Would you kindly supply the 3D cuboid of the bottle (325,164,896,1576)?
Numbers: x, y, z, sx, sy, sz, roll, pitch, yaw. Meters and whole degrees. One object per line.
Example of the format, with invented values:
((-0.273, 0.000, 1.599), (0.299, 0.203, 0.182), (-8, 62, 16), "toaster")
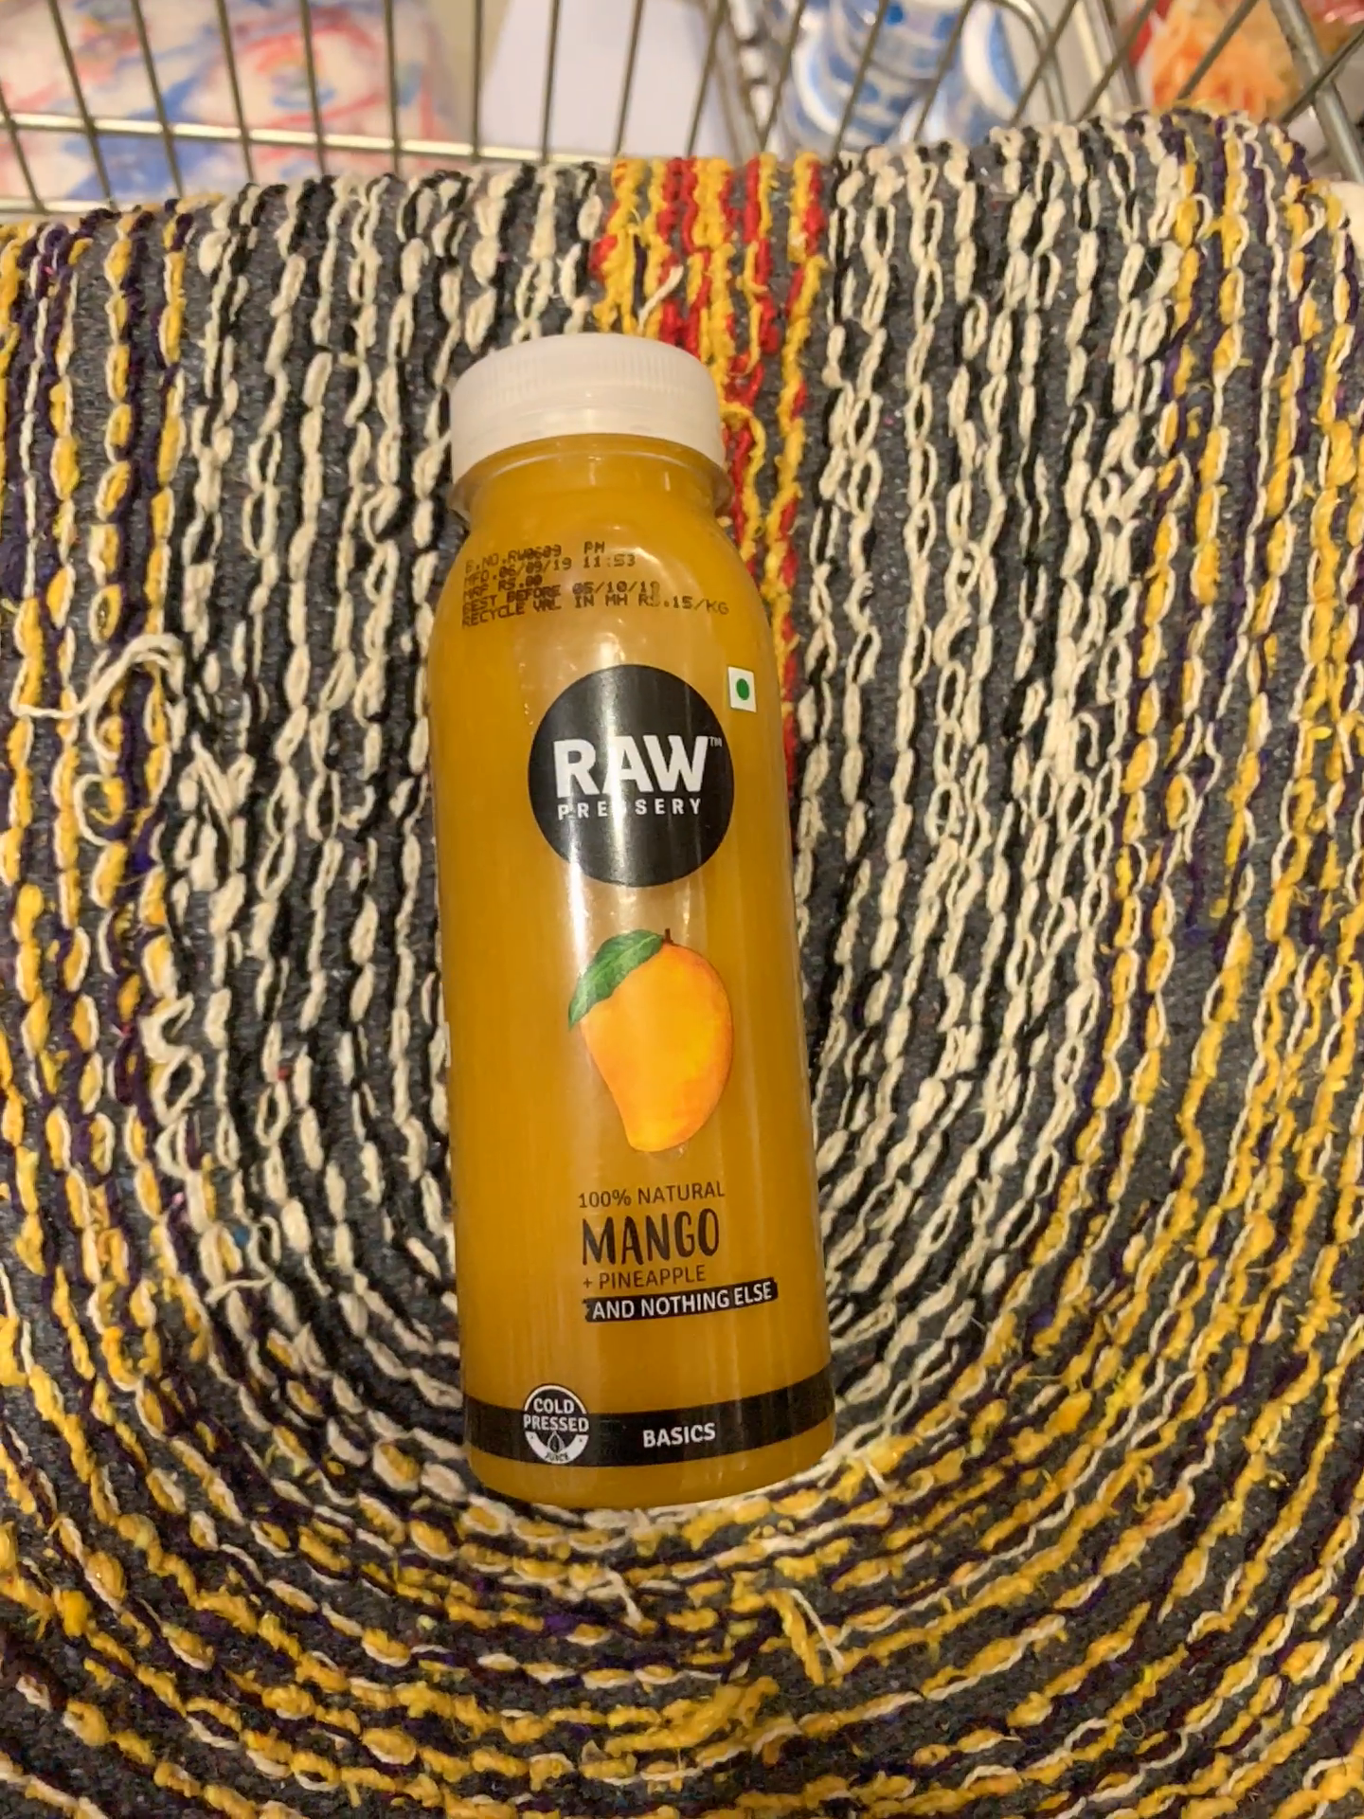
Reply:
((-0.014, -0.008, 0.197), (0.060, 0.050, 0.170), (-2, 82, -8), "bottle")
